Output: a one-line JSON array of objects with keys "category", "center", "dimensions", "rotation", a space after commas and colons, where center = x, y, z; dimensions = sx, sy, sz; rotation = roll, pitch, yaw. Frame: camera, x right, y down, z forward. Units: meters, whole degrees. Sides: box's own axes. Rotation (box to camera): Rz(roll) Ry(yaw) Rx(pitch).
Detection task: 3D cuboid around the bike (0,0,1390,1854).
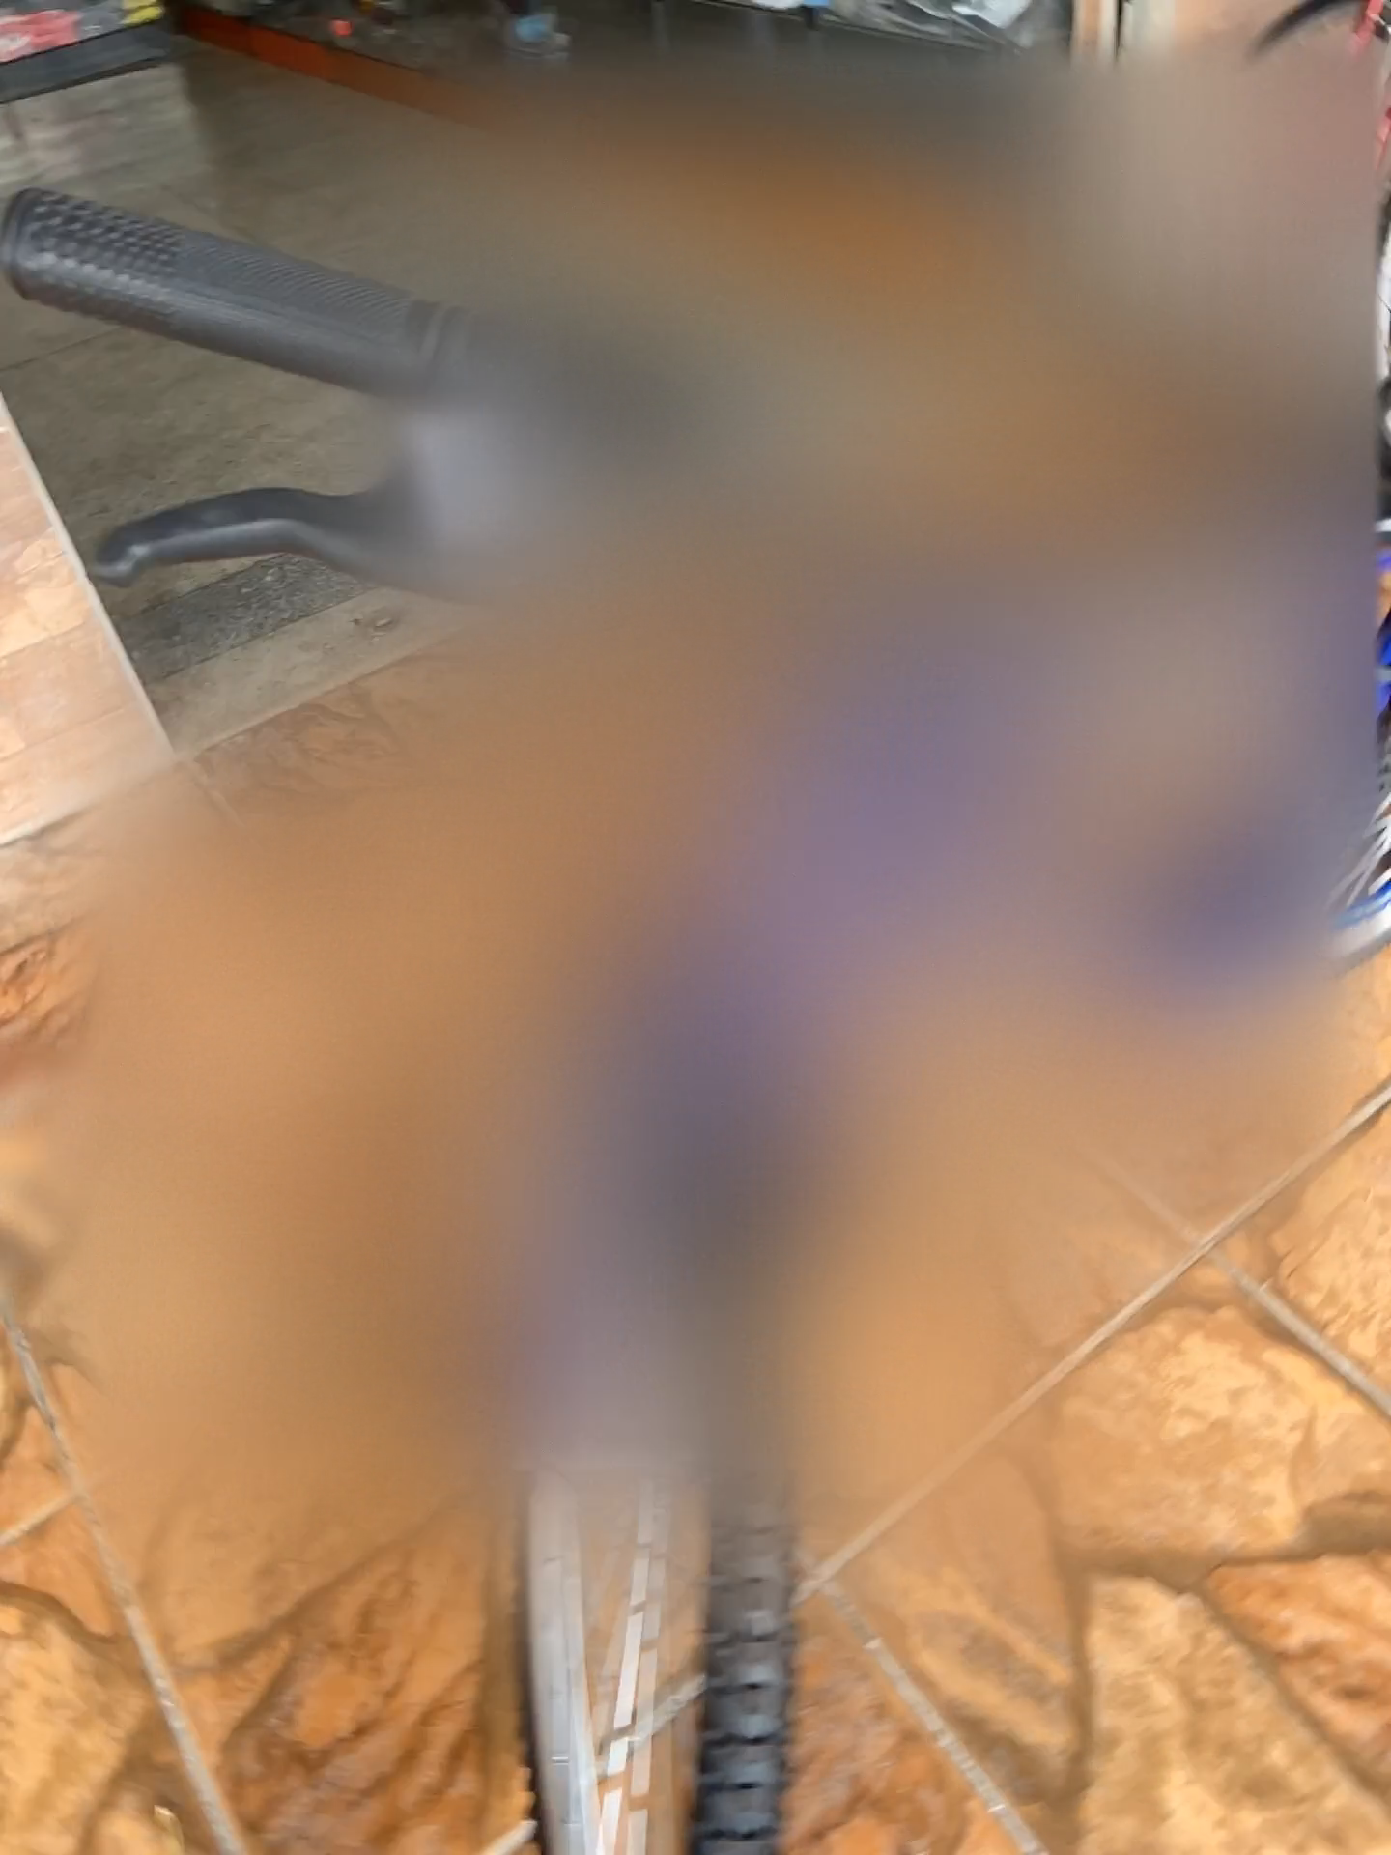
[{"category": "bike", "center": [0.514, 0.018, 0.874], "dimensions": [0.573, 1.013, 1.529], "rotation": [28, 58, 33]}]
